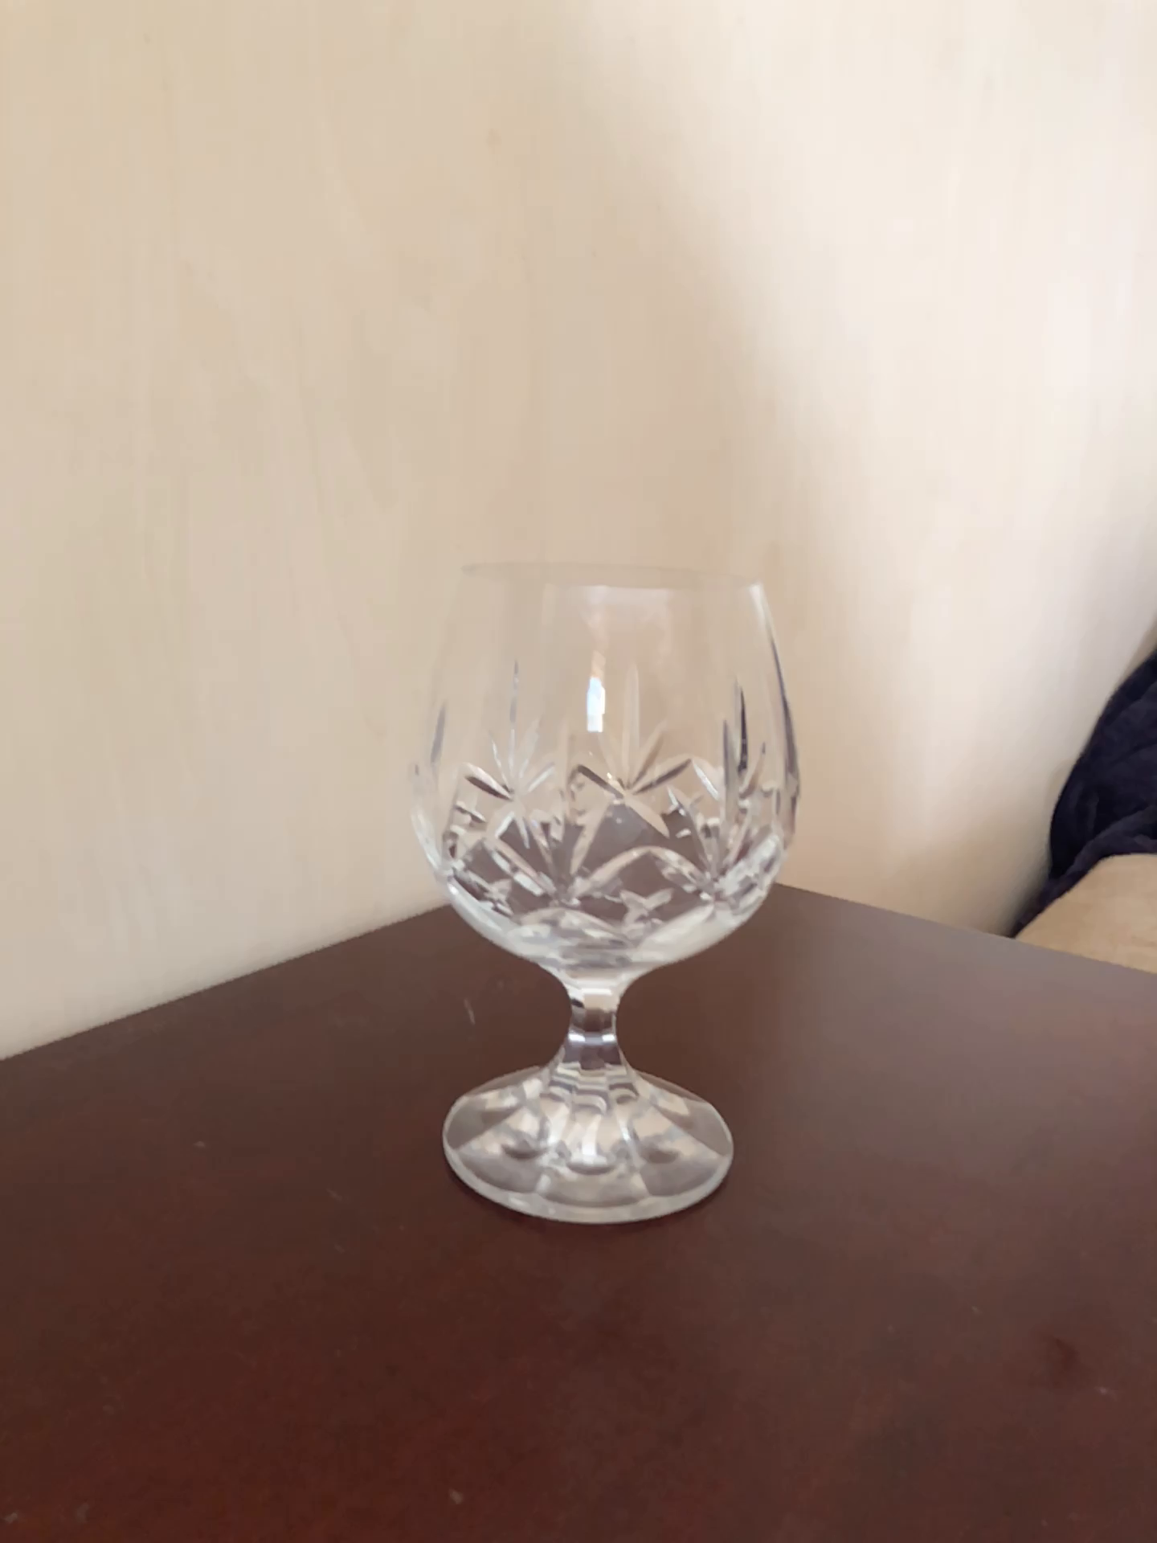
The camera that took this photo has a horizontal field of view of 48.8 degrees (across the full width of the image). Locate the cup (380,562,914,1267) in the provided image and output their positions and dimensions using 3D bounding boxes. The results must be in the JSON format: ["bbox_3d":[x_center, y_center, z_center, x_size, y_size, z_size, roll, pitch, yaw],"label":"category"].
[{"bbox_3d":[0.007,0.020,0.280,0.088,0.126,0.089,1,11,0],"label":"cup"}]
